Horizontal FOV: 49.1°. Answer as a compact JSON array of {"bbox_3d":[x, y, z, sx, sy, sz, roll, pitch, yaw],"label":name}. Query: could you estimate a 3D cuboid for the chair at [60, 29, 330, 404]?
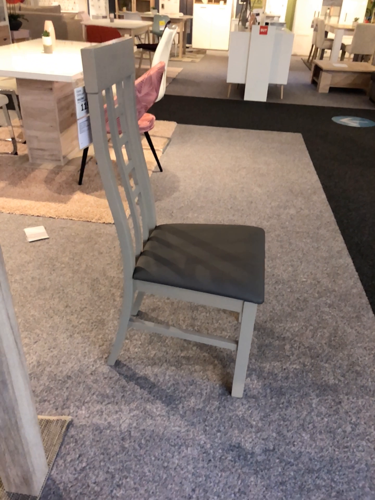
[{"bbox_3d":[0.020,-0.099,1.307,0.550,1.014,0.513,6,31,5],"label":"chair"}]
